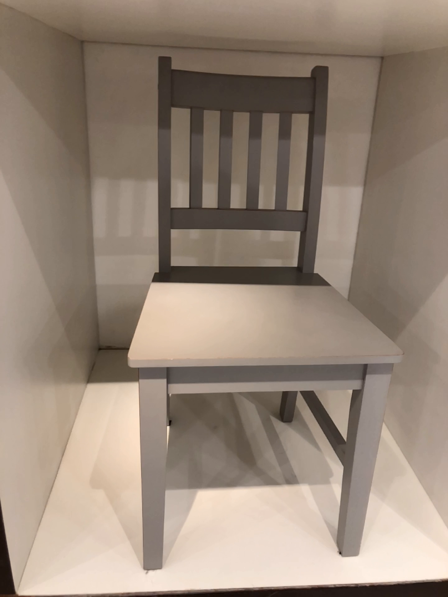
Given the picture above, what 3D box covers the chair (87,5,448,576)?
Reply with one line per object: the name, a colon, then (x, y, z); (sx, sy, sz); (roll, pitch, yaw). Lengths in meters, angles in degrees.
chair: (0.030, -0.032, 0.991); (0.460, 0.864, 0.584); (0, 22, -7)
